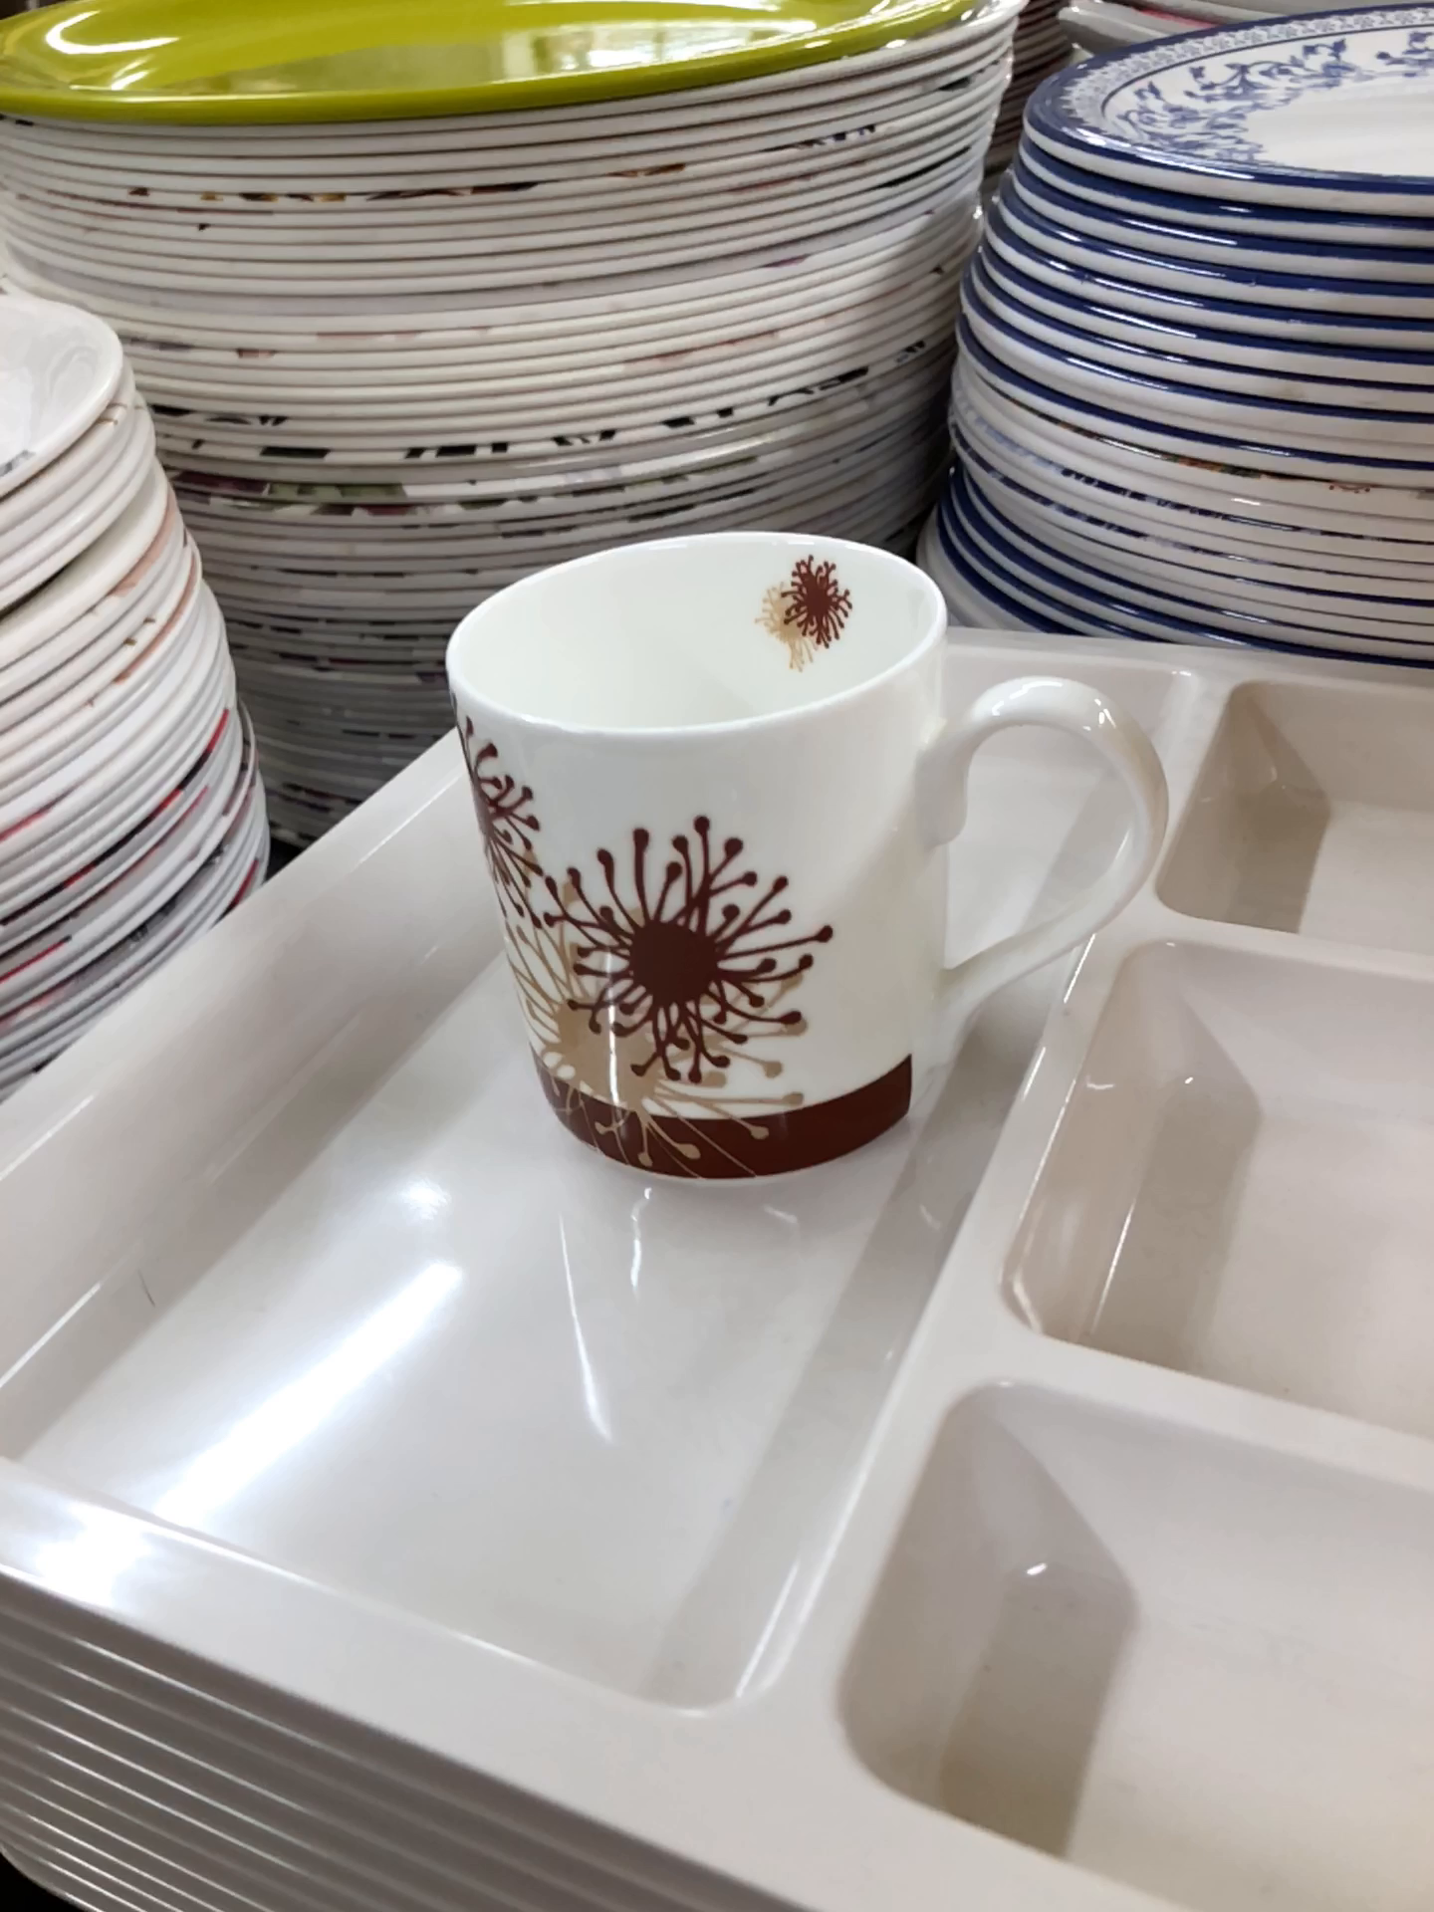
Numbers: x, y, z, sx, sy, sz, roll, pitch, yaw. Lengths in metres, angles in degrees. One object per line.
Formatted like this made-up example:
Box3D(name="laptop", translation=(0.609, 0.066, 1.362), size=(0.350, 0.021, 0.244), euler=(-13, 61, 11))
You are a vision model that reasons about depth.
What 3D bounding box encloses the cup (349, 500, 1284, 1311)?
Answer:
Box3D(name="cup", translation=(0.022, -0.014, 0.260), size=(0.120, 0.089, 0.081), euler=(8, 37, 18))
